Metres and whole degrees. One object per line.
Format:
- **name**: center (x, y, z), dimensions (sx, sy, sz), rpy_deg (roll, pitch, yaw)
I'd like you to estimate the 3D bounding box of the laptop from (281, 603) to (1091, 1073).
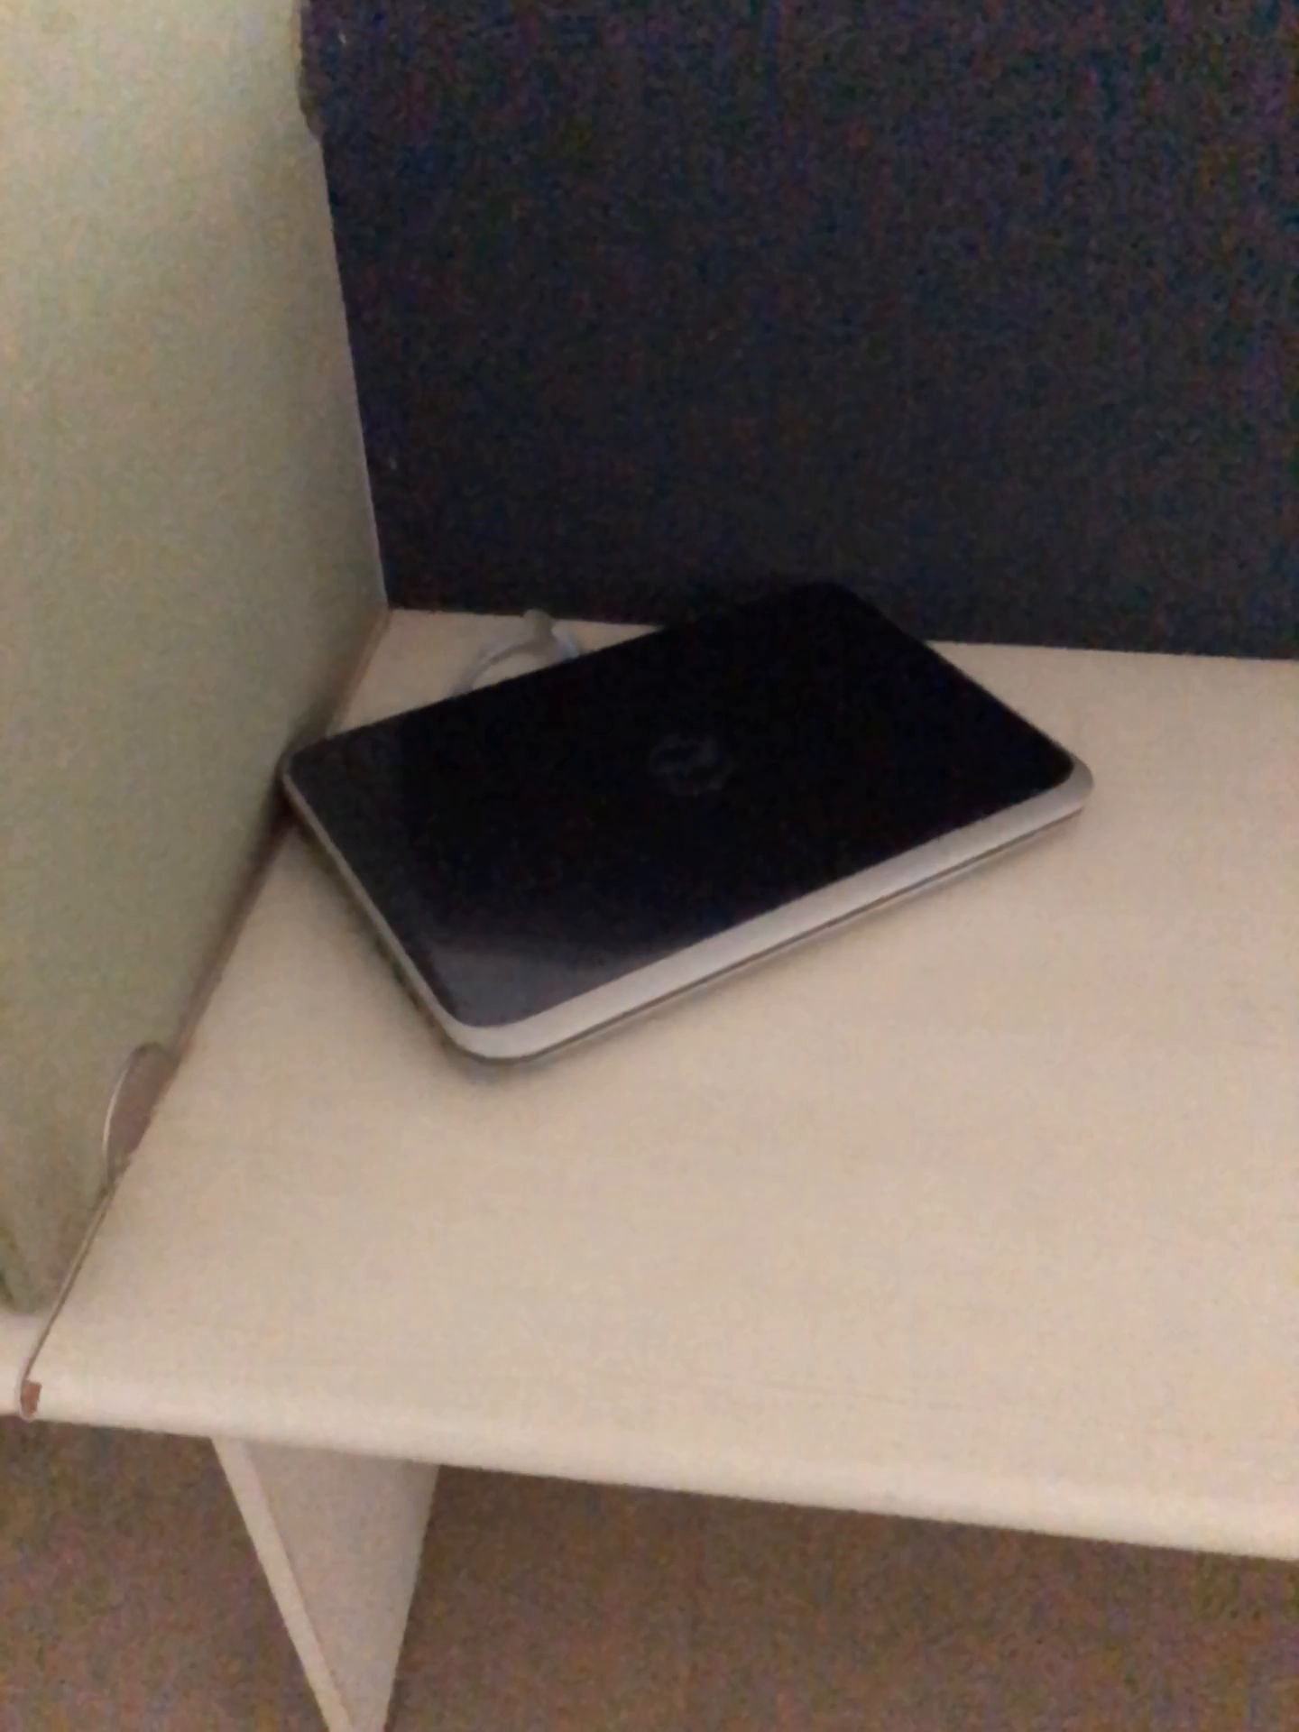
- **laptop**: center (0.015, -0.038, 0.811), dimensions (0.372, 0.010, 0.247), rpy_deg (-22, 45, -20)
